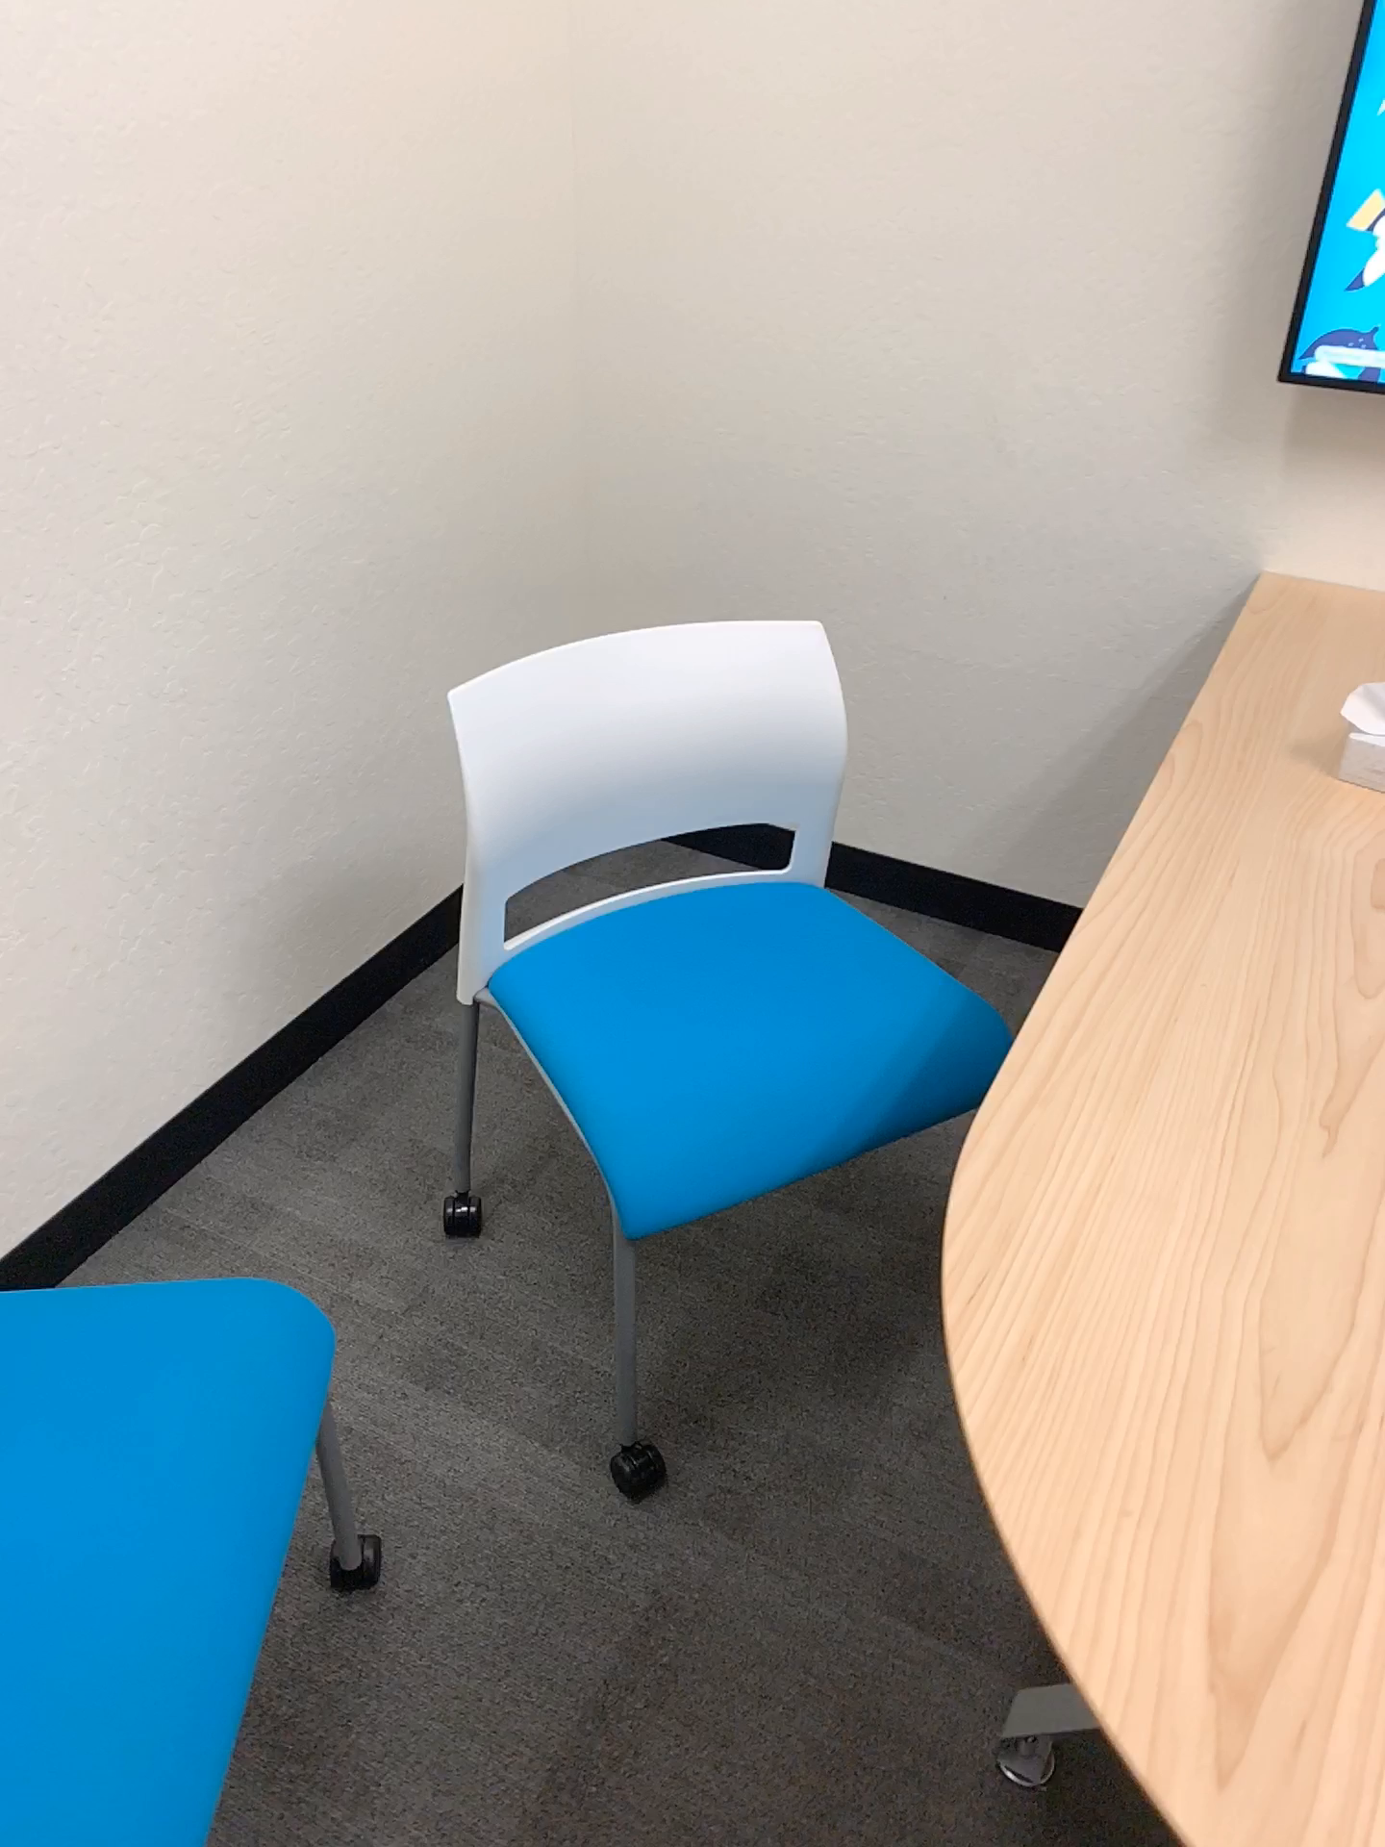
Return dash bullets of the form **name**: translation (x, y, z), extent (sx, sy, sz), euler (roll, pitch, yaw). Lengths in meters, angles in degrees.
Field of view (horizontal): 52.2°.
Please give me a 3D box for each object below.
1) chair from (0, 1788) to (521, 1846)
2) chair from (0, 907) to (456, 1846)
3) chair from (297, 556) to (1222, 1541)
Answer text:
- **chair**: translation (-0.432, 0.862, 0.499), extent (0.690, 0.716, 0.644), euler (-3, 34, -6)
- **chair**: translation (-0.610, 0.488, 1.081), extent (0.690, 0.755, 0.644), euler (1, 34, 1)
- **chair**: translation (0.040, 0.086, 1.747), extent (0.751, 0.765, 0.694), euler (-18, 38, -25)
